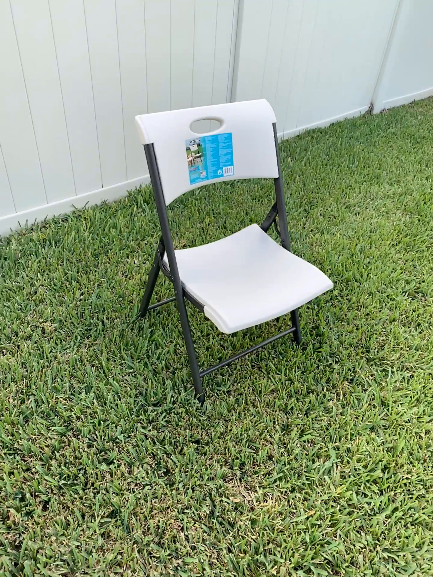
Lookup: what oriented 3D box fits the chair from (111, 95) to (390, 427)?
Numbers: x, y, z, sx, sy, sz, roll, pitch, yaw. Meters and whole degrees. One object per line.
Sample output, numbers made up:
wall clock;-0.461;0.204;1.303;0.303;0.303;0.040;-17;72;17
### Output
chair;0.050;-0.110;1.378;0.520;0.766;0.517;-20;44;-30
